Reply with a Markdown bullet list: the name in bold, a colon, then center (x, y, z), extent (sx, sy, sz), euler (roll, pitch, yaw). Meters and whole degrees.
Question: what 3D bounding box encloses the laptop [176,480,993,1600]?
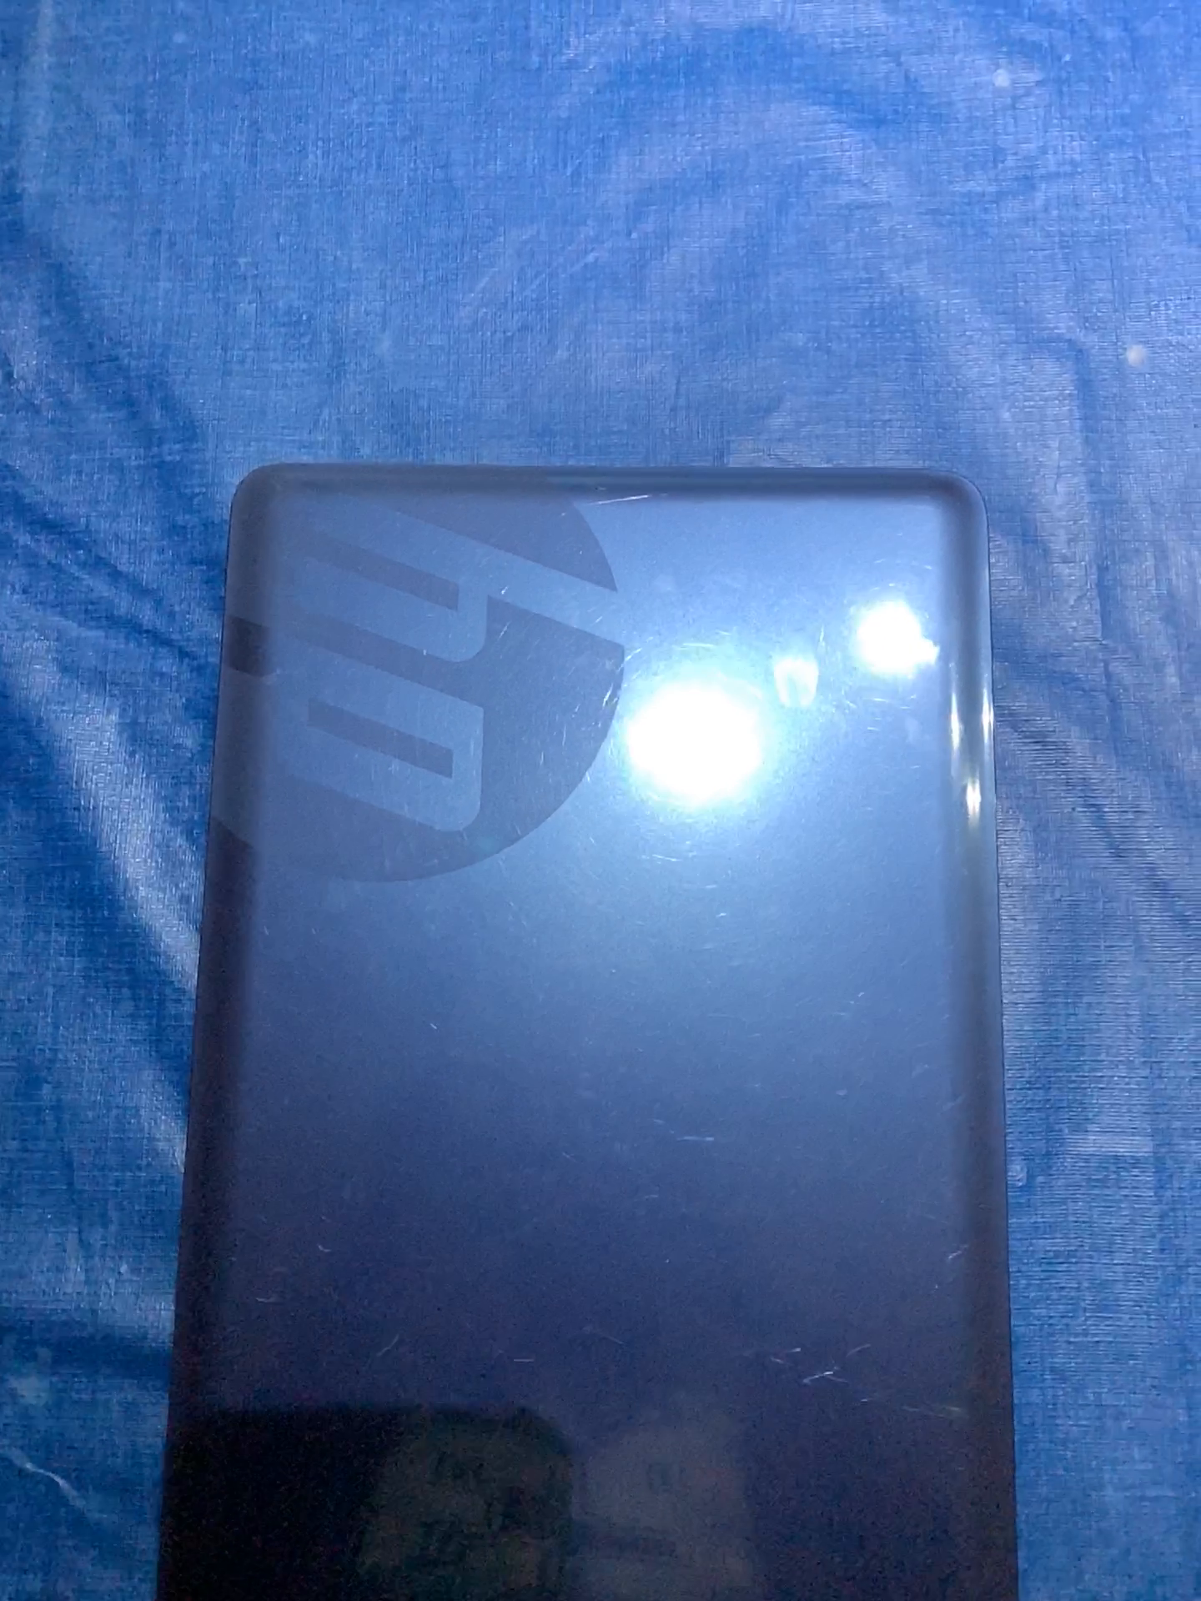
- **laptop**: center (-0.001, 0.077, 0.382), extent (0.235, 0.009, 0.363), euler (1, 83, 1)
